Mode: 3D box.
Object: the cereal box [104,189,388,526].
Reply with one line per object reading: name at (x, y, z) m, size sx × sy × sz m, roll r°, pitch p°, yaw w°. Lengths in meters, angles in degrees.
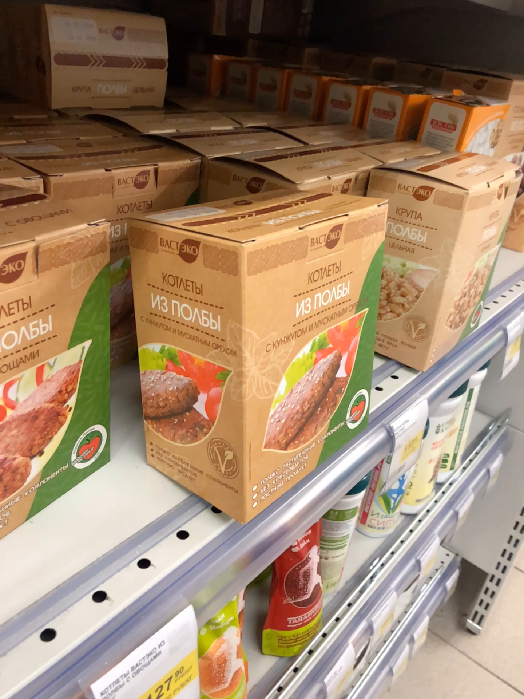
cereal box at (-0.004, -0.008, 0.325) m, size 0.090 × 0.139 × 0.120 m, roll 17°, pitch 28°, yaw 35°
